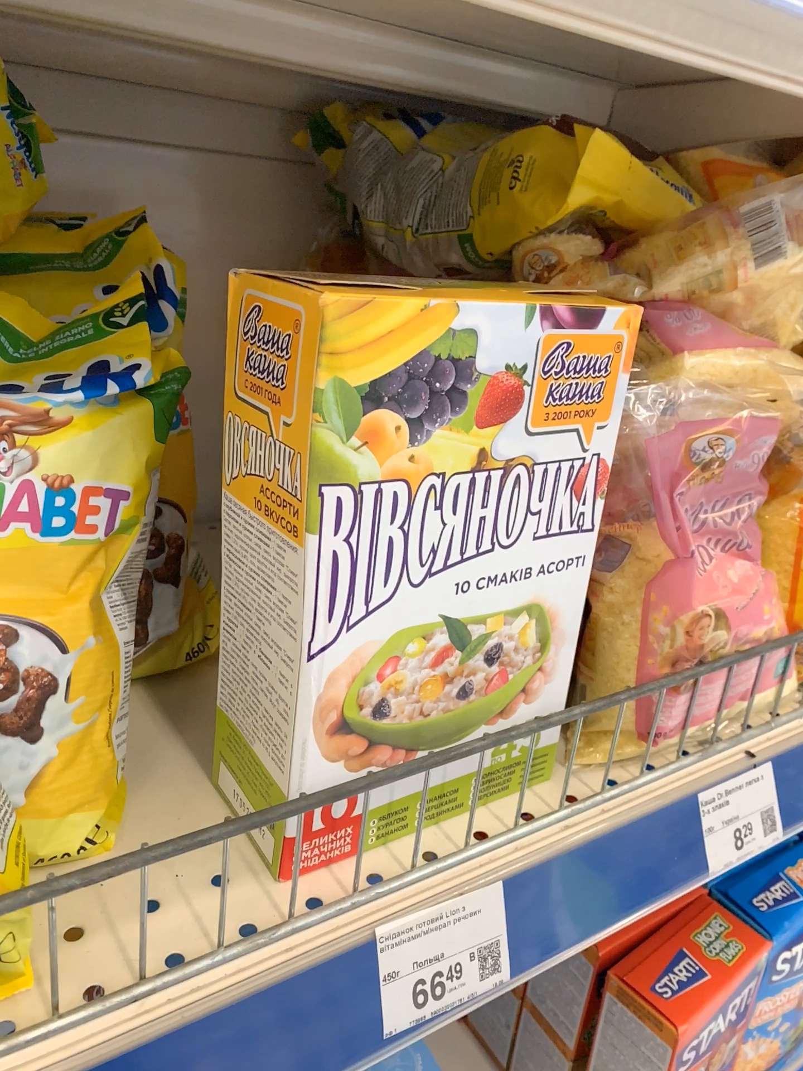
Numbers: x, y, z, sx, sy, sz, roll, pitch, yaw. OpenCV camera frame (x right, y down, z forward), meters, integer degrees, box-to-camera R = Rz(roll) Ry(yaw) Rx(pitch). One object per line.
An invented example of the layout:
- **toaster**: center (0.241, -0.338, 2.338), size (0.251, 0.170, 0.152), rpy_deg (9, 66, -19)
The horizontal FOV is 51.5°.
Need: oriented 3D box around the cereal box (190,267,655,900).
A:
- **cereal box**: center (0.002, 0.010, 0.328), size (0.150, 0.209, 0.070), rpy_deg (-8, 24, -32)
